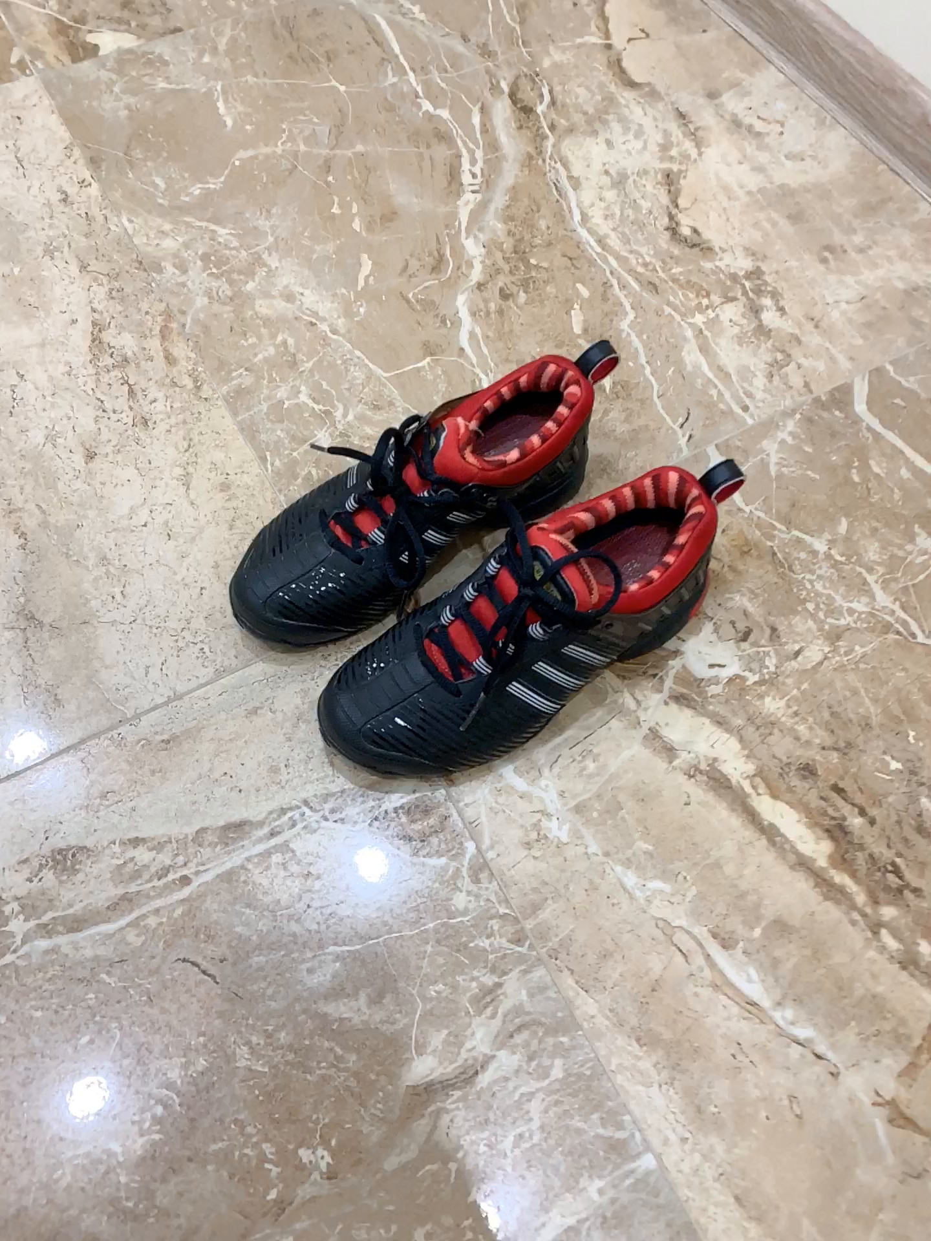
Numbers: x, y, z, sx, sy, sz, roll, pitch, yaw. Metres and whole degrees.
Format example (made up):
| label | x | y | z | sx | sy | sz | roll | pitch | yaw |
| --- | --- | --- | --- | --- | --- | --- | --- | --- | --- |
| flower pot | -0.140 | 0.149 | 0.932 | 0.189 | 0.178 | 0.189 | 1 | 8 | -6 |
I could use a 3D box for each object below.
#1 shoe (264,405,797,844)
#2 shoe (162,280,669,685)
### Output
| label | x | y | z | sx | sy | sz | roll | pitch | yaw |
| --- | --- | --- | --- | --- | --- | --- | --- | --- | --- |
| shoe | 0.038 | -0.001 | 0.531 | 0.270 | 0.090 | 0.095 | -31 | 67 | -16 |
| shoe | -0.023 | -0.085 | 0.565 | 0.270 | 0.090 | 0.095 | -31 | 67 | -16 |
